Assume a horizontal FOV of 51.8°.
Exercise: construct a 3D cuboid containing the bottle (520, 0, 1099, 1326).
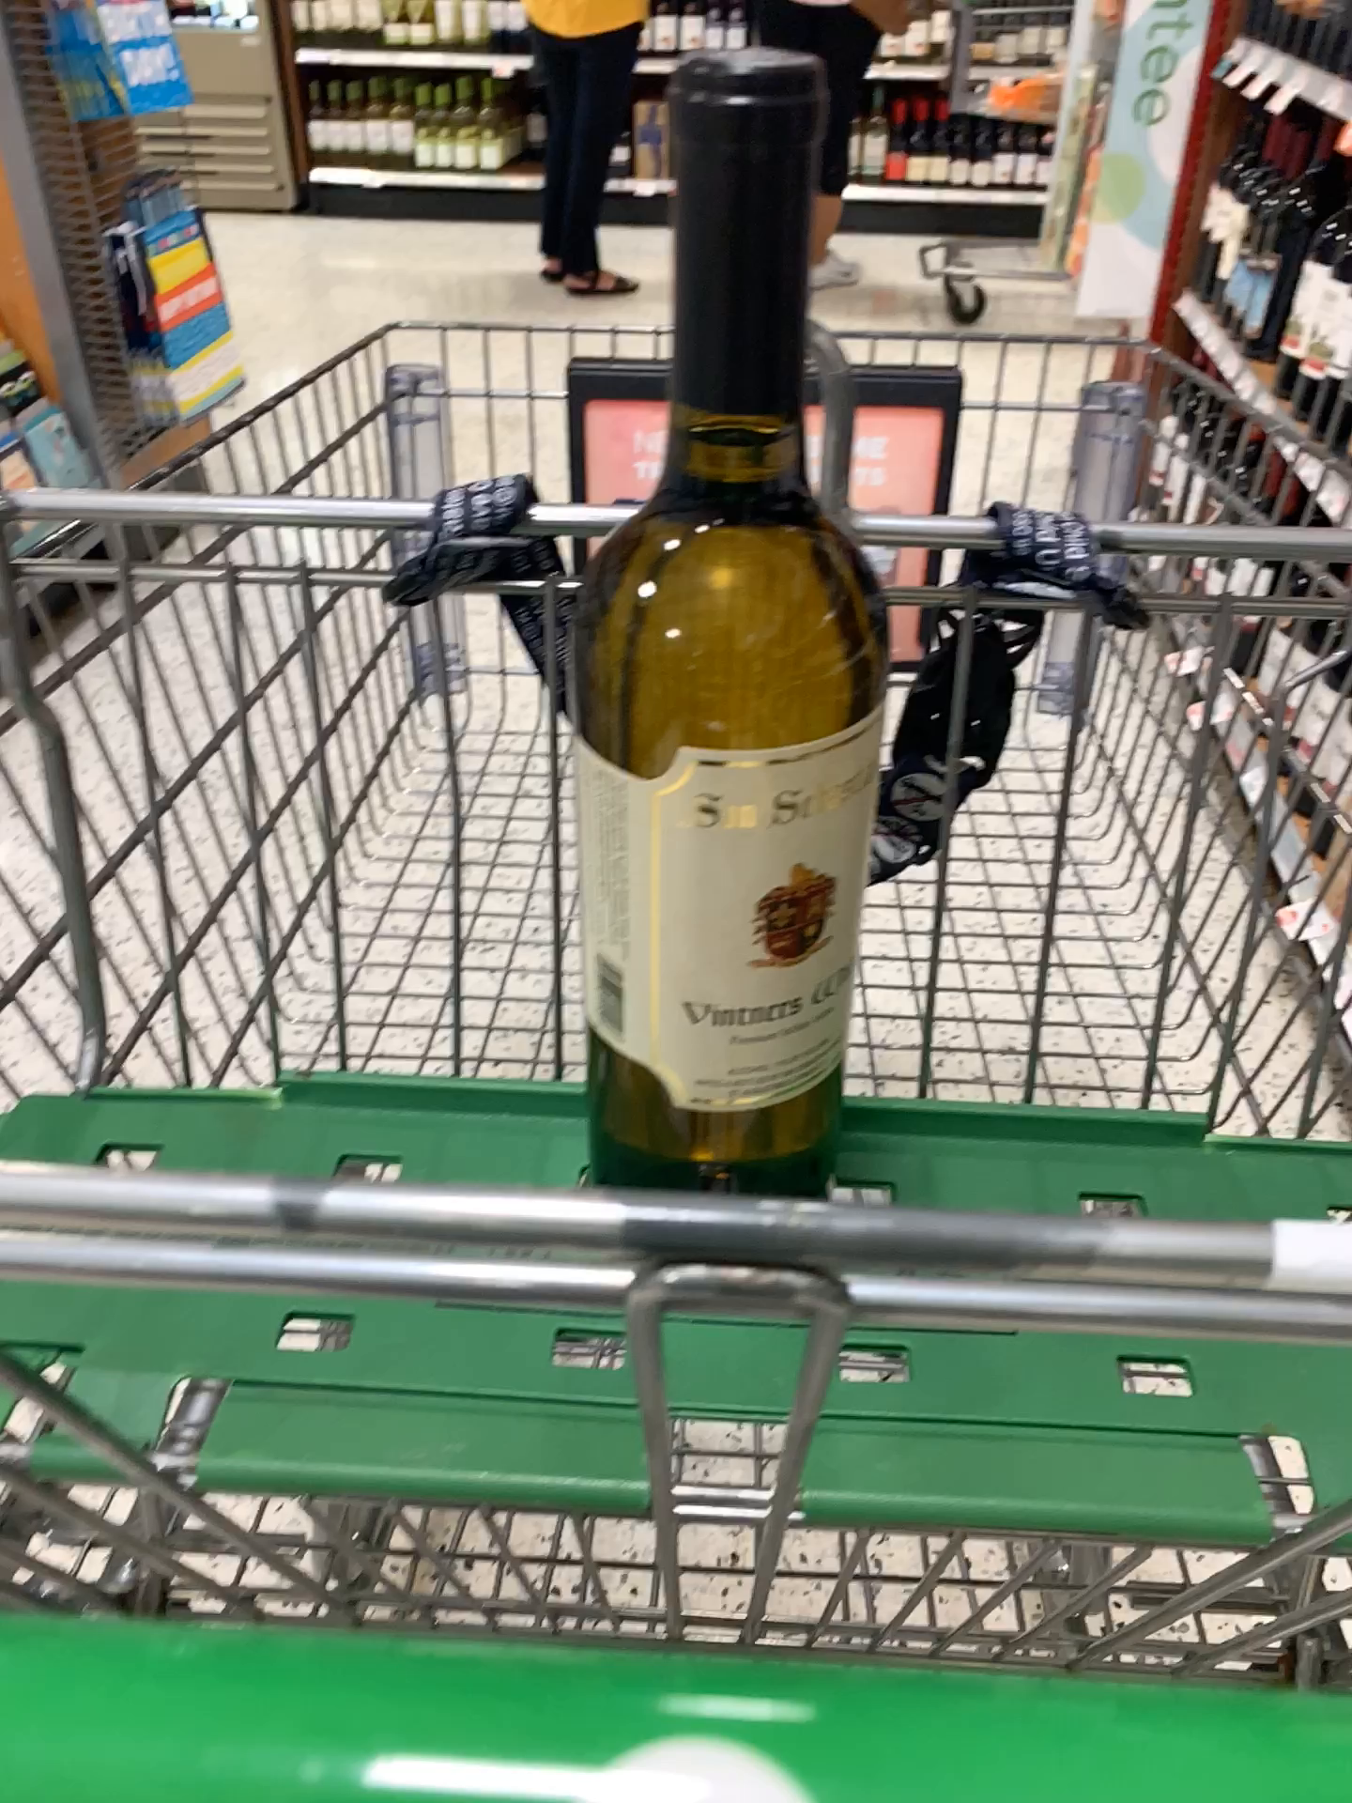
[{"bbox_3d":[0.021,-0.035,0.340,0.080,0.307,0.071,-15,38,-21],"label":"bottle"}]
